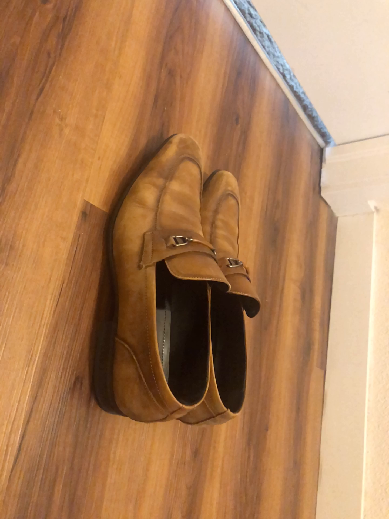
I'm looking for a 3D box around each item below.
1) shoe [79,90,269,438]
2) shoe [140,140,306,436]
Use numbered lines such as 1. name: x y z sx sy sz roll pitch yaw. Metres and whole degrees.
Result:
1. shoe: -0.010 0.006 0.439 0.107 0.111 0.308 26 66 -49
2. shoe: 0.045 0.032 0.508 0.107 0.111 0.308 32 62 -47
